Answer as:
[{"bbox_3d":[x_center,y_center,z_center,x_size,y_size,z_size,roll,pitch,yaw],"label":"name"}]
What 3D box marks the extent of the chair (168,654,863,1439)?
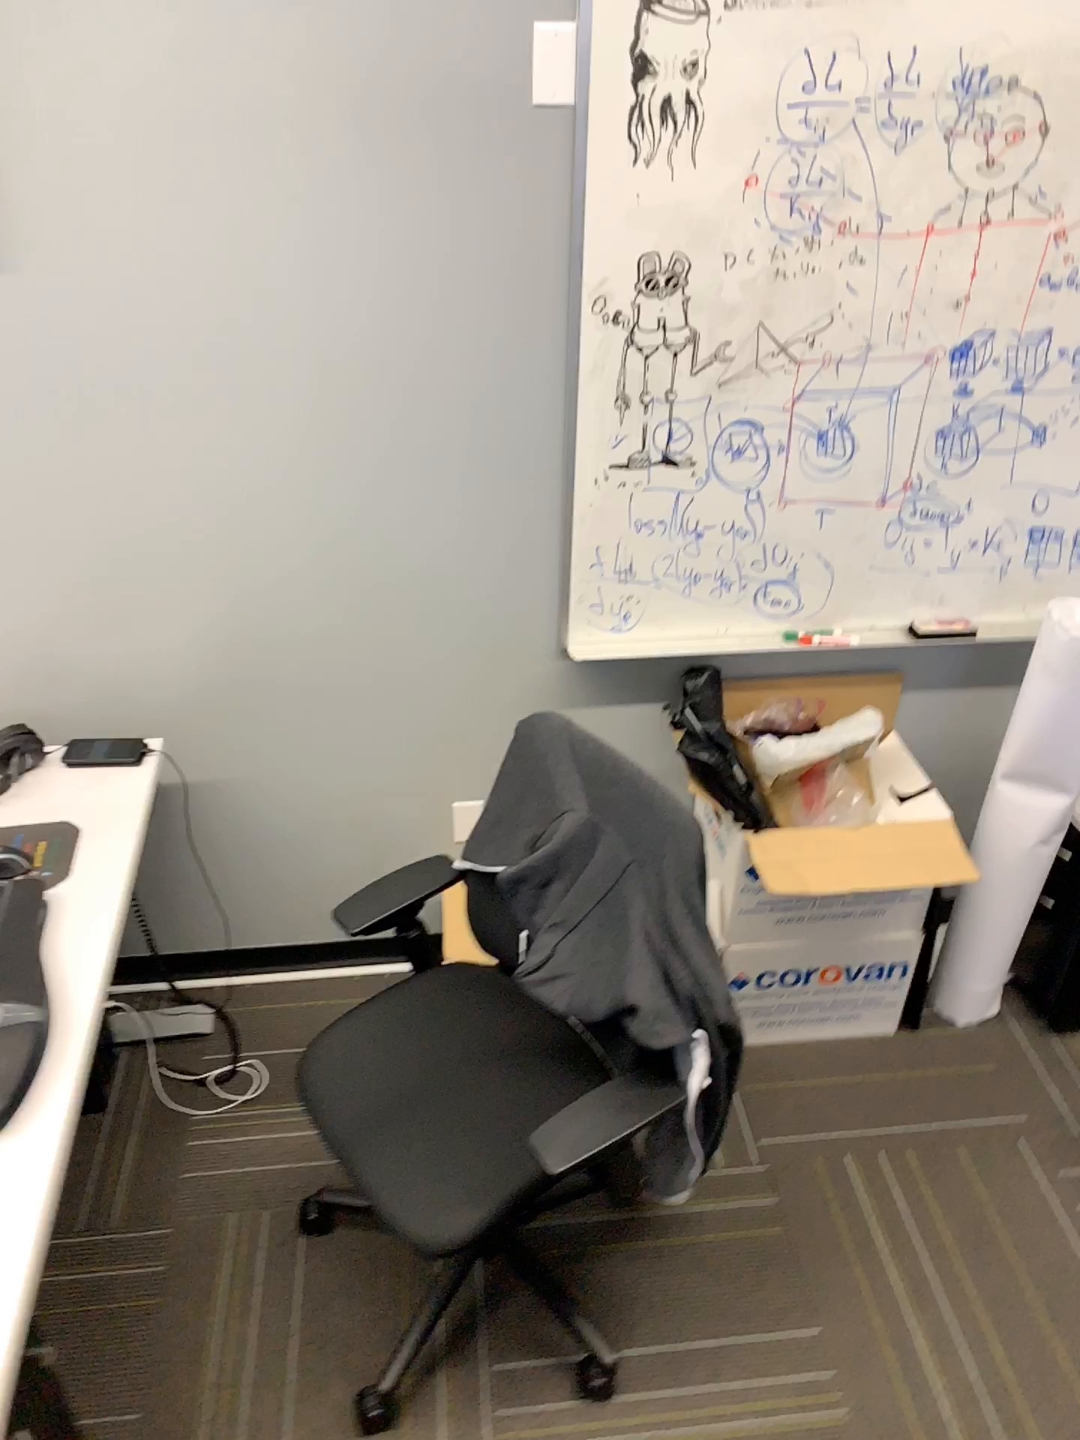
[{"bbox_3d":[-0.084,0.578,1.869,0.730,0.994,0.775,-17,37,-25],"label":"chair"}]
